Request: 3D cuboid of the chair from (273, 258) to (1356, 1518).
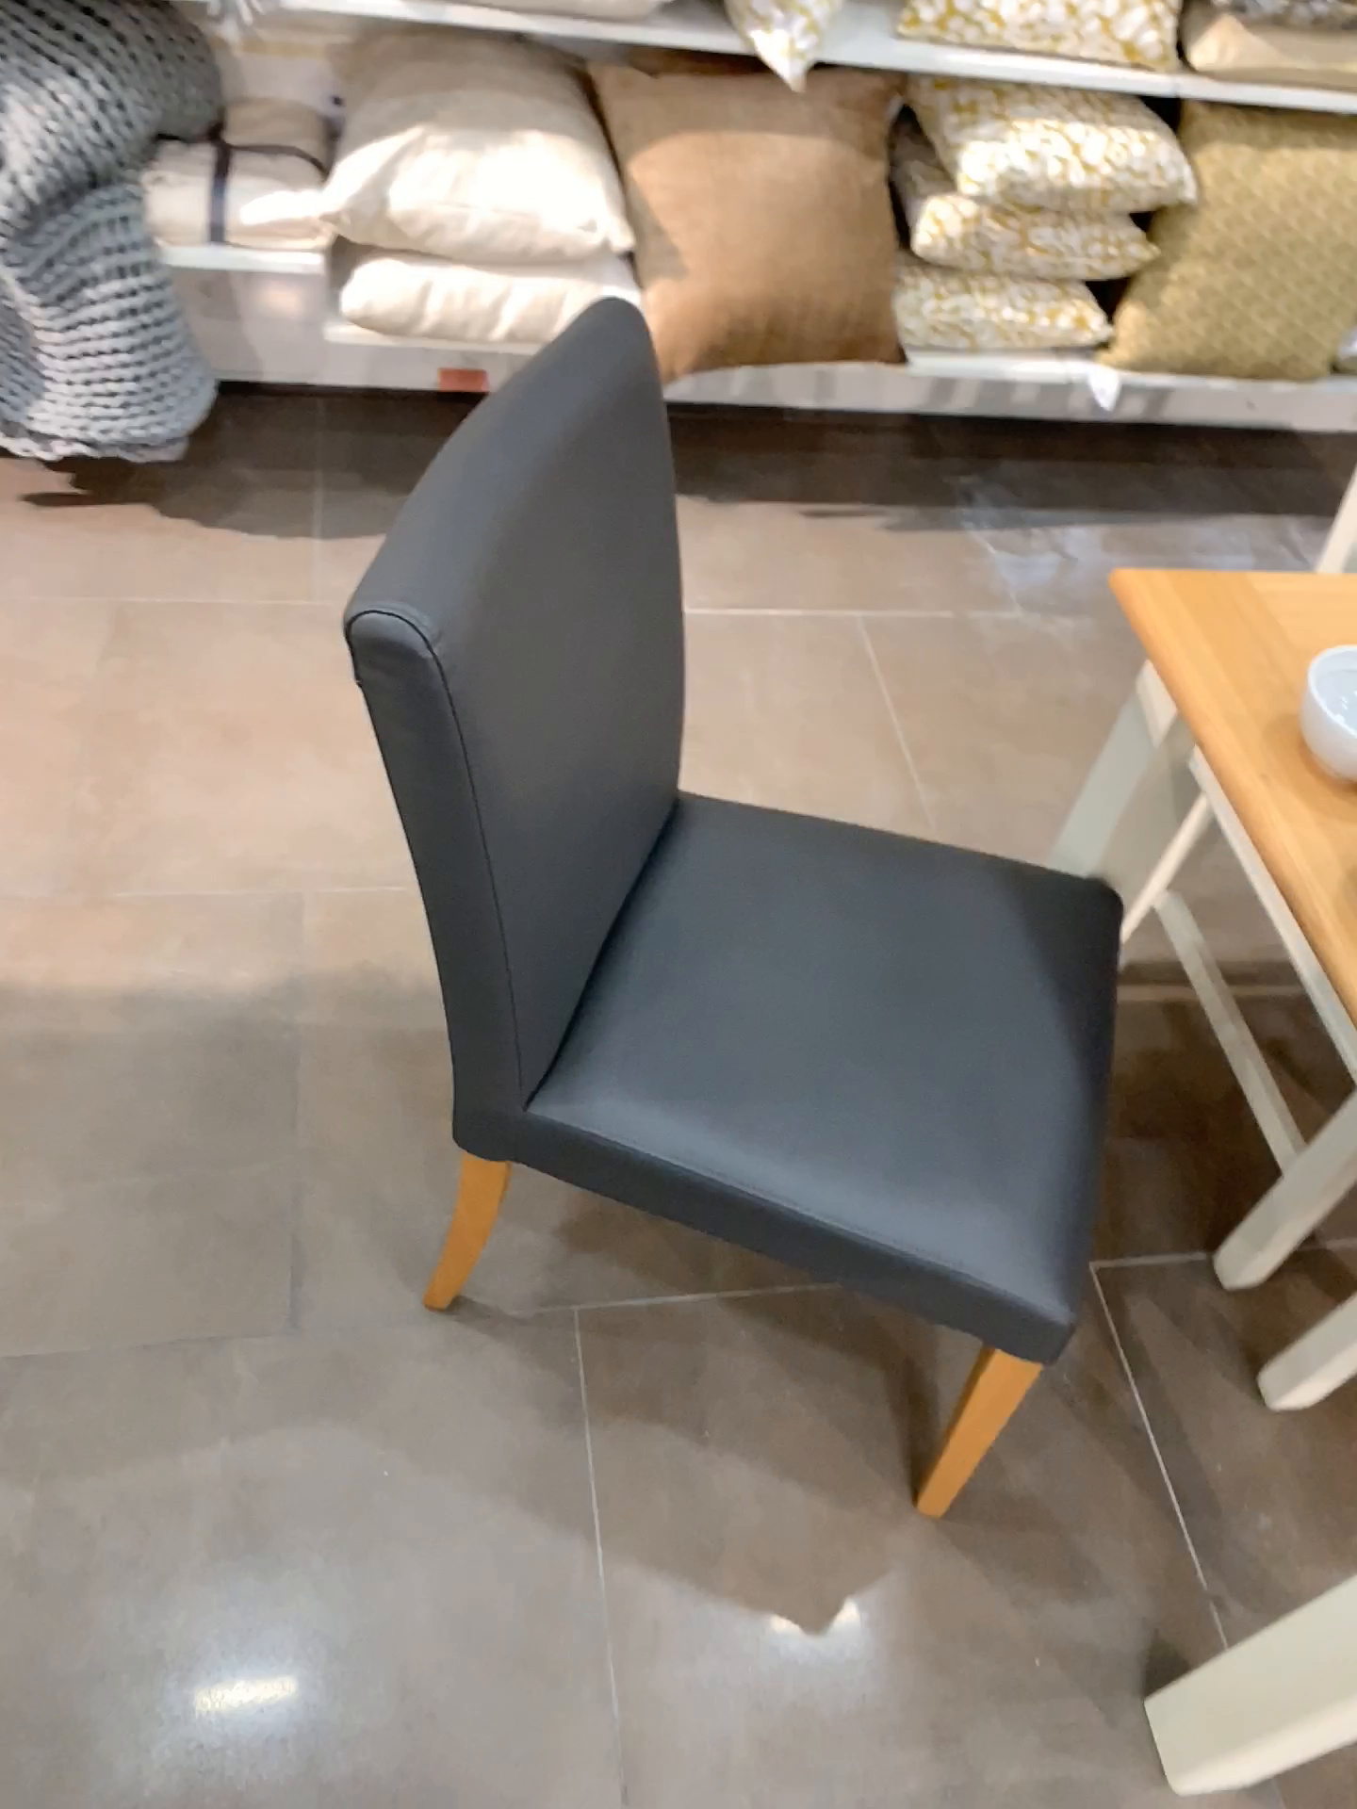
[{"bbox_3d":[0.091,0.052,1.236,0.649,0.907,0.479,18,49,6],"label":"chair"}]
